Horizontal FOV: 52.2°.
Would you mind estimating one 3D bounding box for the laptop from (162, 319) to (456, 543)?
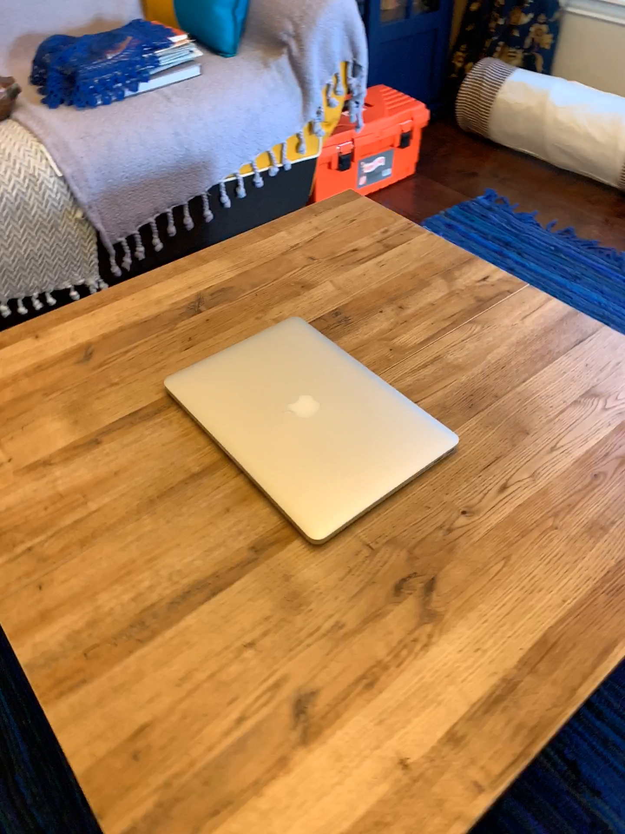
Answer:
[{"bbox_3d":[-0.013,-0.005,0.761,0.208,0.002,0.299,-31,53,-25],"label":"laptop"}]
